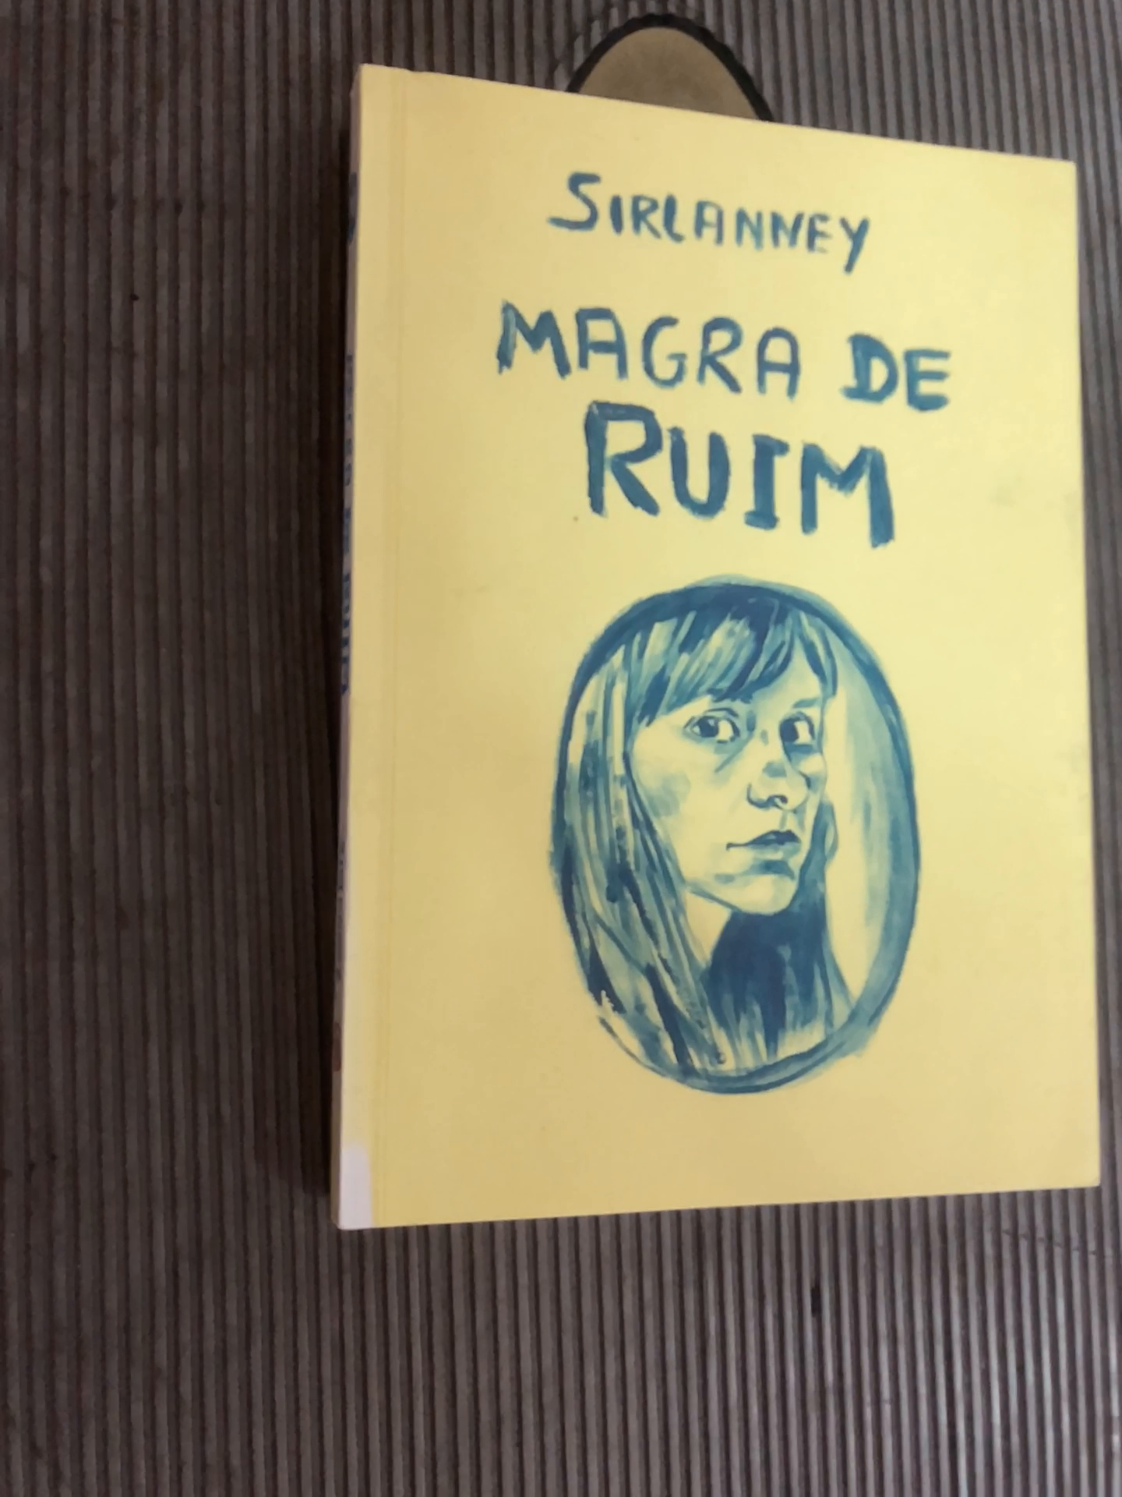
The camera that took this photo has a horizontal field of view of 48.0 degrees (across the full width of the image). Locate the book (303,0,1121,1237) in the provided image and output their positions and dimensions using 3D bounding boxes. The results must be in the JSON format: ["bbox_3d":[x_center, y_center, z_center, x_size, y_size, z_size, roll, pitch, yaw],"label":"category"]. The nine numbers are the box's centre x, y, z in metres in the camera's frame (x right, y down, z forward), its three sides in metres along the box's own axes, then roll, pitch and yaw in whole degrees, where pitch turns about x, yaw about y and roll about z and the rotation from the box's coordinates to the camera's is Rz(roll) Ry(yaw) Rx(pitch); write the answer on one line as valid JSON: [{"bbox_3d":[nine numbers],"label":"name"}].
[{"bbox_3d":[0.032,-0.024,0.234,0.150,0.020,0.210,2,86,-13],"label":"book"}]
